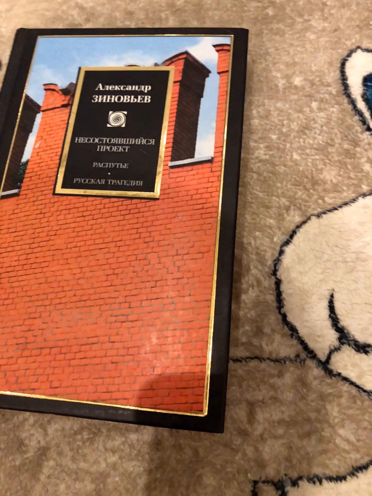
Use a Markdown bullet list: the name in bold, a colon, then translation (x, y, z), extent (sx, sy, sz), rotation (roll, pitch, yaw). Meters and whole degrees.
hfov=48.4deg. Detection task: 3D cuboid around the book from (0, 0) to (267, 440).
- **book**: translation (-0.037, -0.029, 0.210), extent (0.140, 0.040, 0.210), rotation (4, 72, 8)
